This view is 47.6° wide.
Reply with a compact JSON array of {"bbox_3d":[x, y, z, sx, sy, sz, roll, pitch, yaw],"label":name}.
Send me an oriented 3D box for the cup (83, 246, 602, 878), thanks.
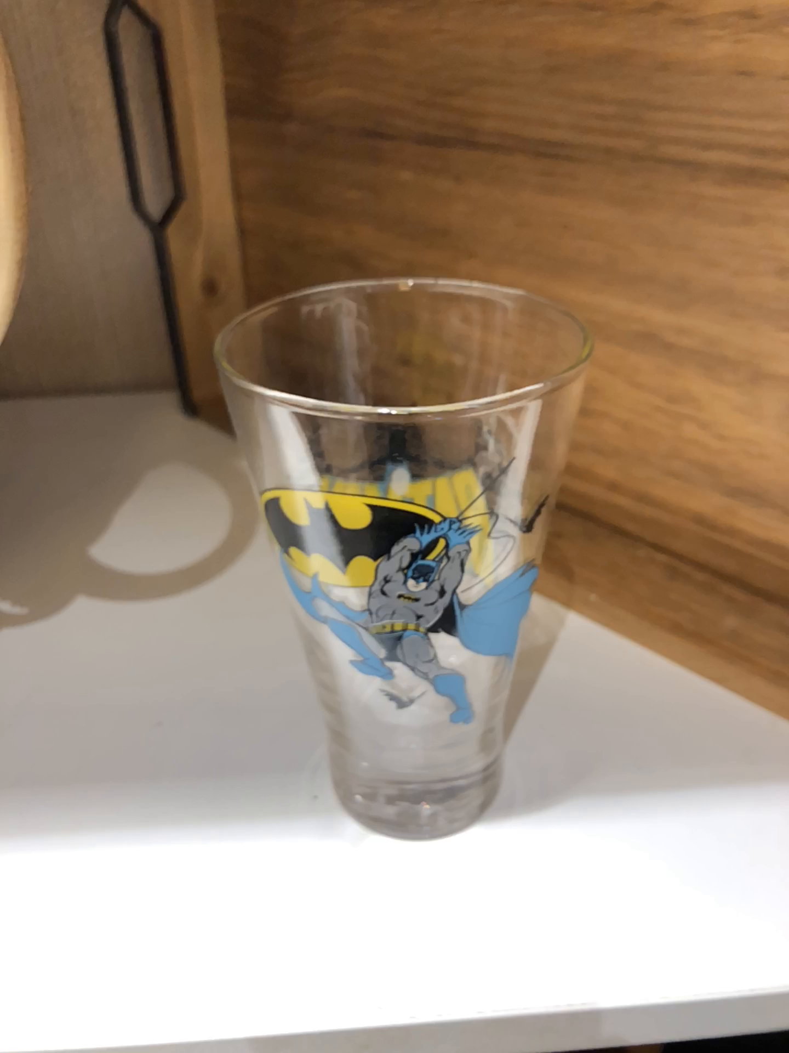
[{"bbox_3d":[-0.004,0.007,0.221,0.090,0.129,0.081,2,32,6],"label":"cup"}]
